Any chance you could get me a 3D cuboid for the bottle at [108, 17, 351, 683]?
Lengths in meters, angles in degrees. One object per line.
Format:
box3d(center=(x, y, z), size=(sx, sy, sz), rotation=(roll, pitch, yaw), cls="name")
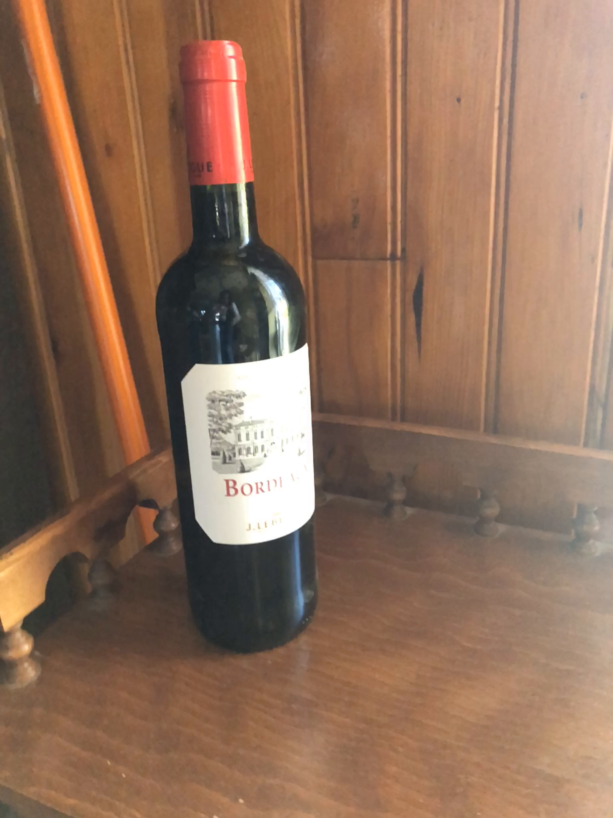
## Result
box3d(center=(-0.034, -0.020, 0.352), size=(0.080, 0.308, 0.080), rotation=(-2, 21, 1), cls="bottle")
